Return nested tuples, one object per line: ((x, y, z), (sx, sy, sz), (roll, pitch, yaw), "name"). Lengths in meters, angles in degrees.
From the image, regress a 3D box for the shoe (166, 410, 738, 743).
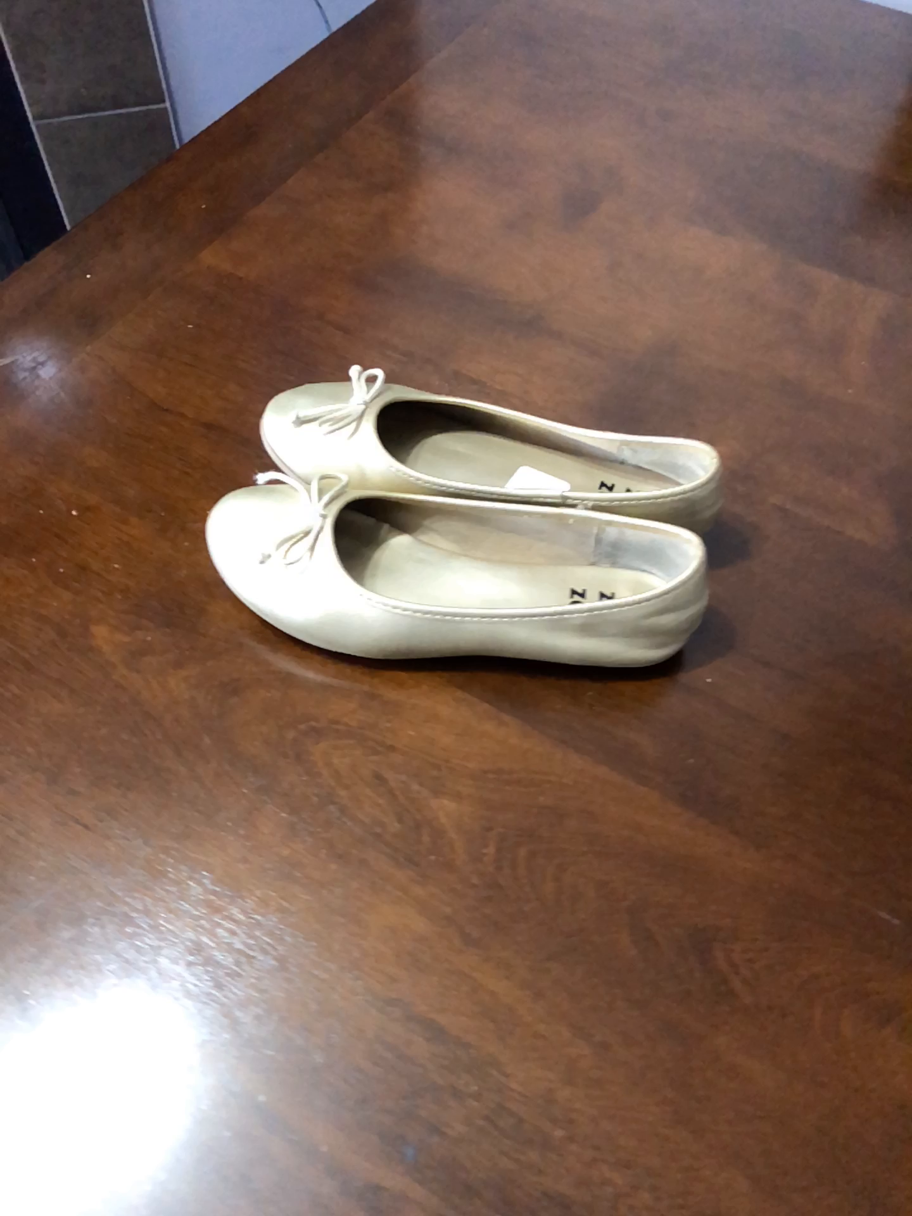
((0.002, -0.015, 0.457), (0.230, 0.070, 0.090), (10, 55, 6), "shoe")

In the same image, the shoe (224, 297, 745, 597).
((0.015, -0.081, 0.496), (0.230, 0.070, 0.080), (12, 55, 7), "shoe")
